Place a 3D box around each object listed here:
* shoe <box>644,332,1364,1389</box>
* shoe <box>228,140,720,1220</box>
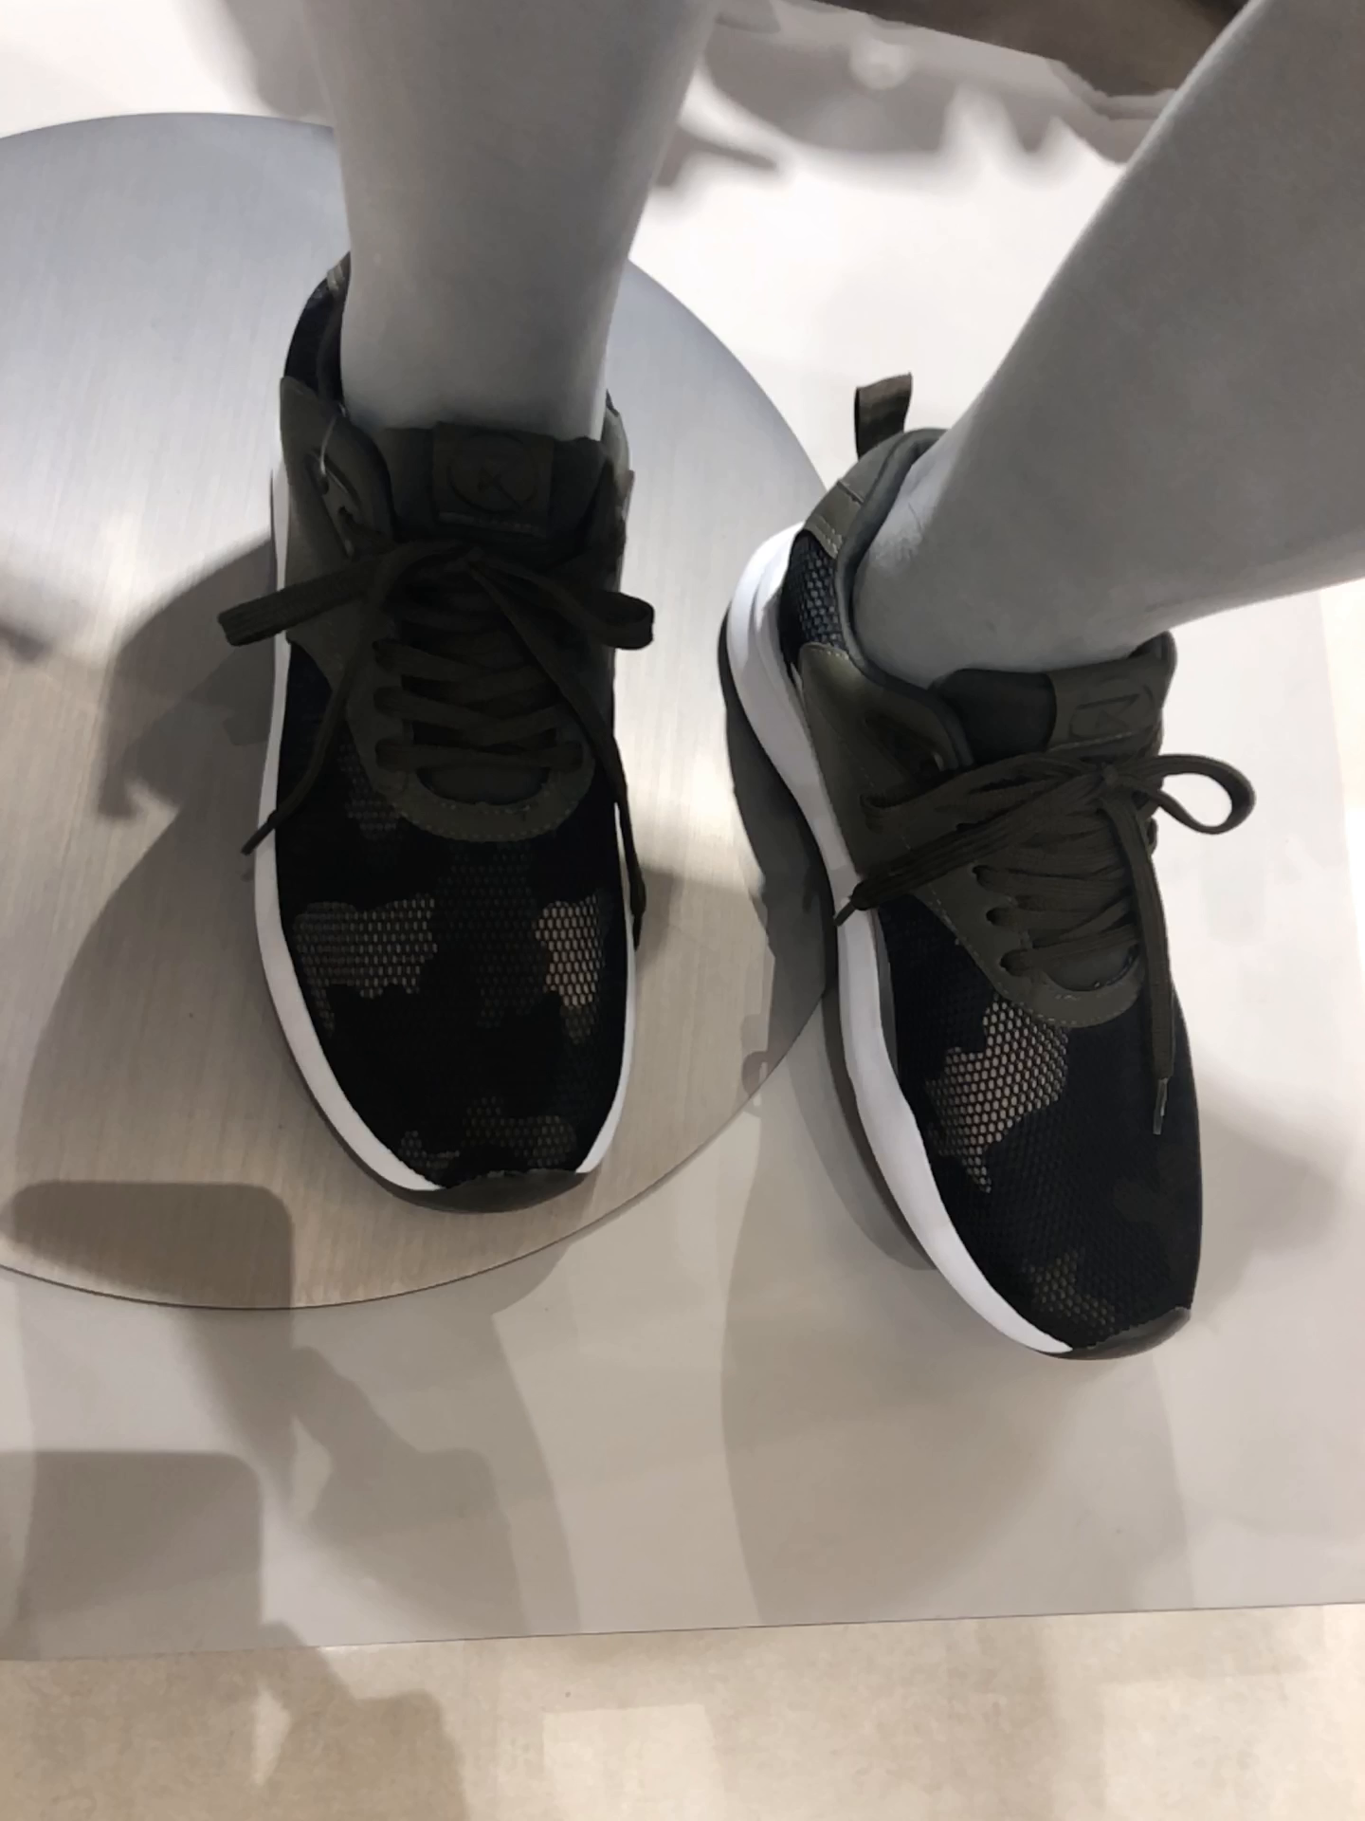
[{"bbox_3d":[0.091,-0.015,0.456,0.110,0.110,0.280,-13,79,-19],"label":"shoe"},{"bbox_3d":[-0.069,-0.055,0.419,0.100,0.120,0.260,-2,75,-17],"label":"shoe"}]
